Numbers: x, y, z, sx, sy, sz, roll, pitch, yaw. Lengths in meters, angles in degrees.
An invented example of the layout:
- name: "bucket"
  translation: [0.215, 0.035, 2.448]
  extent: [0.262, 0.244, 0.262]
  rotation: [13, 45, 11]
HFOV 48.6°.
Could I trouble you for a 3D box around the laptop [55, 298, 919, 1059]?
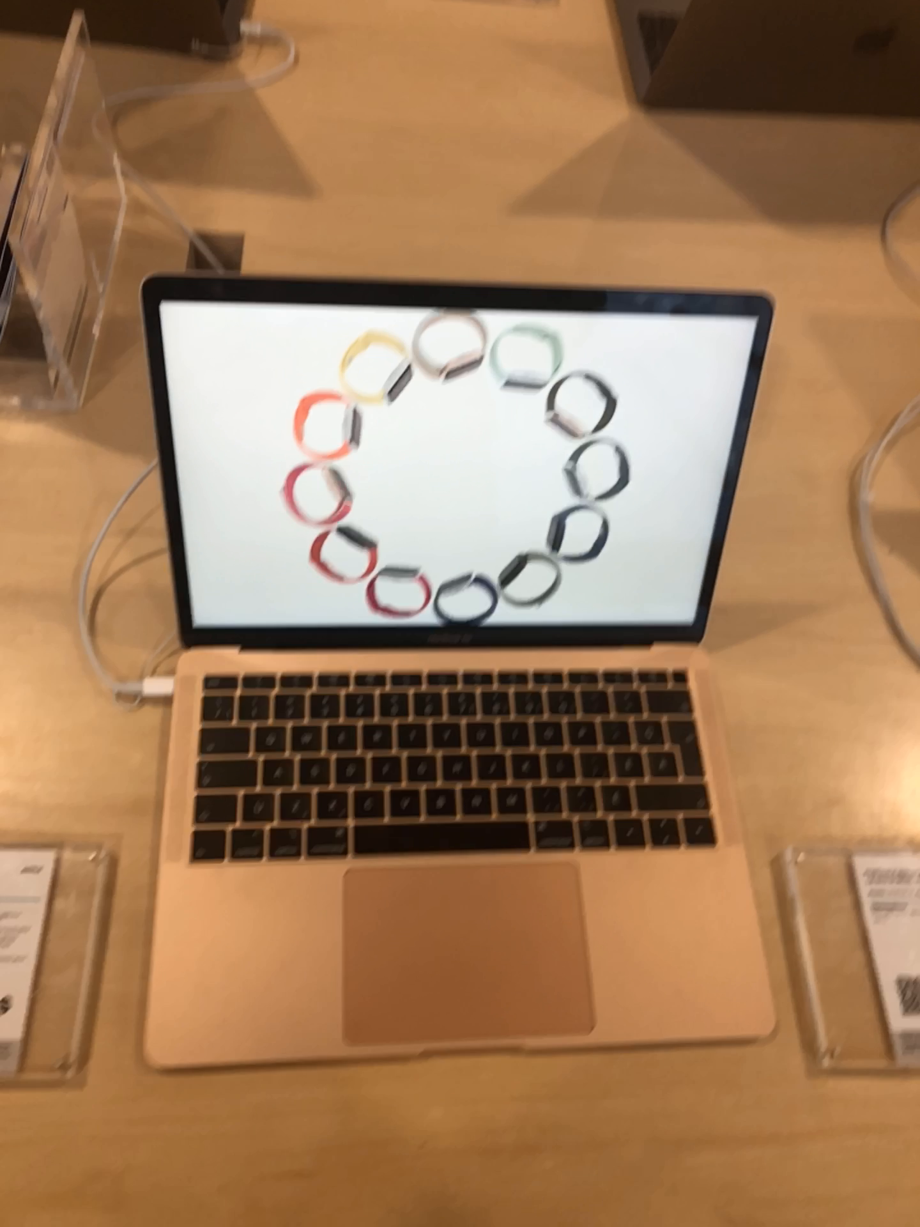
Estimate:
- name: "laptop"
  translation: [0.005, 0.030, 0.471]
  extent: [0.289, 0.168, 0.298]
  rotation: [0, 61, -7]
